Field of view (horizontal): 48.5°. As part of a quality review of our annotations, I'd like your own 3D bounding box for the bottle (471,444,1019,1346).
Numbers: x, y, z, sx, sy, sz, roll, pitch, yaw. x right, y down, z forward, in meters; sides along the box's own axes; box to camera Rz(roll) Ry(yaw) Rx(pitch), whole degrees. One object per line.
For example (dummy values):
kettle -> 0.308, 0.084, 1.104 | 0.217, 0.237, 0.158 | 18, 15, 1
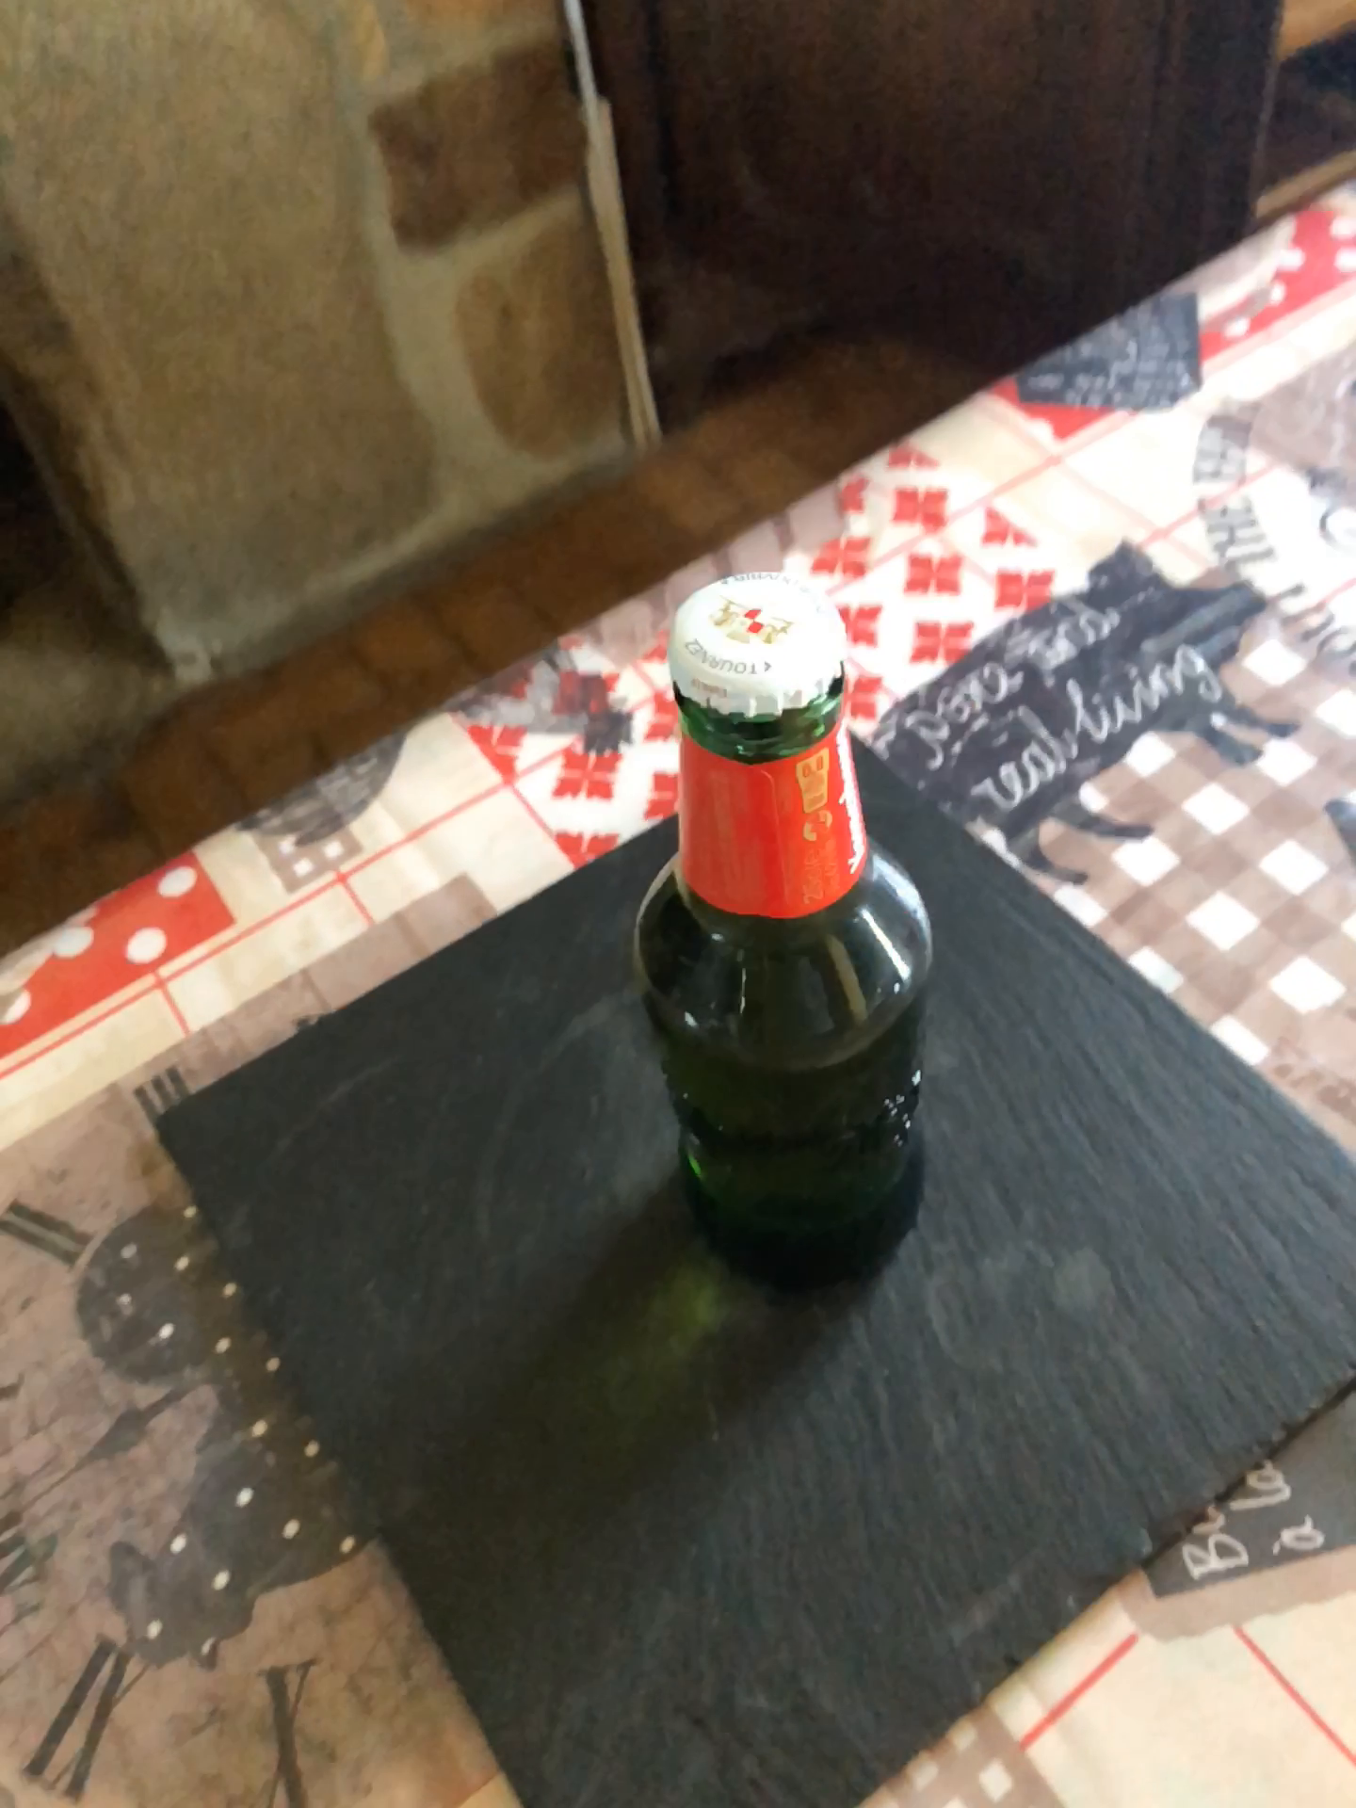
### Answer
bottle -> 0.021, 0.010, 0.299 | 0.060, 0.179, 0.060 | -4, 50, 5
